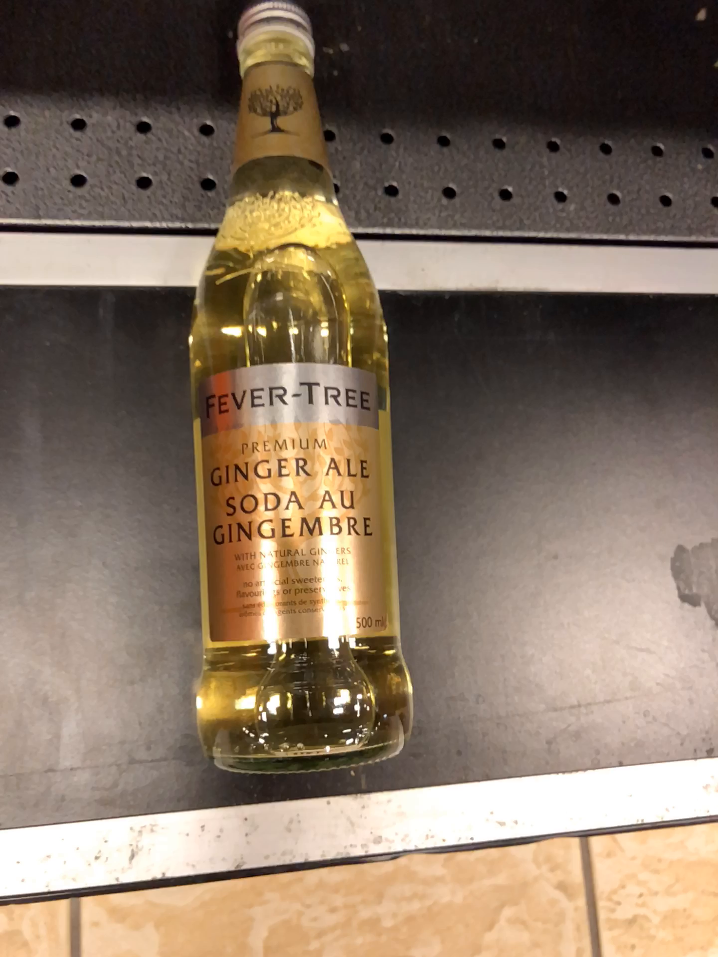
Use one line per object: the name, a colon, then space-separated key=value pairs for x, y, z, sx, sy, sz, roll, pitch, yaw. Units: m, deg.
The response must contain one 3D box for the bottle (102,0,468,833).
bottle: x=-0.034 y=-0.043 z=0.274 sx=0.090 sy=0.090 sz=0.280 roll=-2 pitch=78 yaw=-11
